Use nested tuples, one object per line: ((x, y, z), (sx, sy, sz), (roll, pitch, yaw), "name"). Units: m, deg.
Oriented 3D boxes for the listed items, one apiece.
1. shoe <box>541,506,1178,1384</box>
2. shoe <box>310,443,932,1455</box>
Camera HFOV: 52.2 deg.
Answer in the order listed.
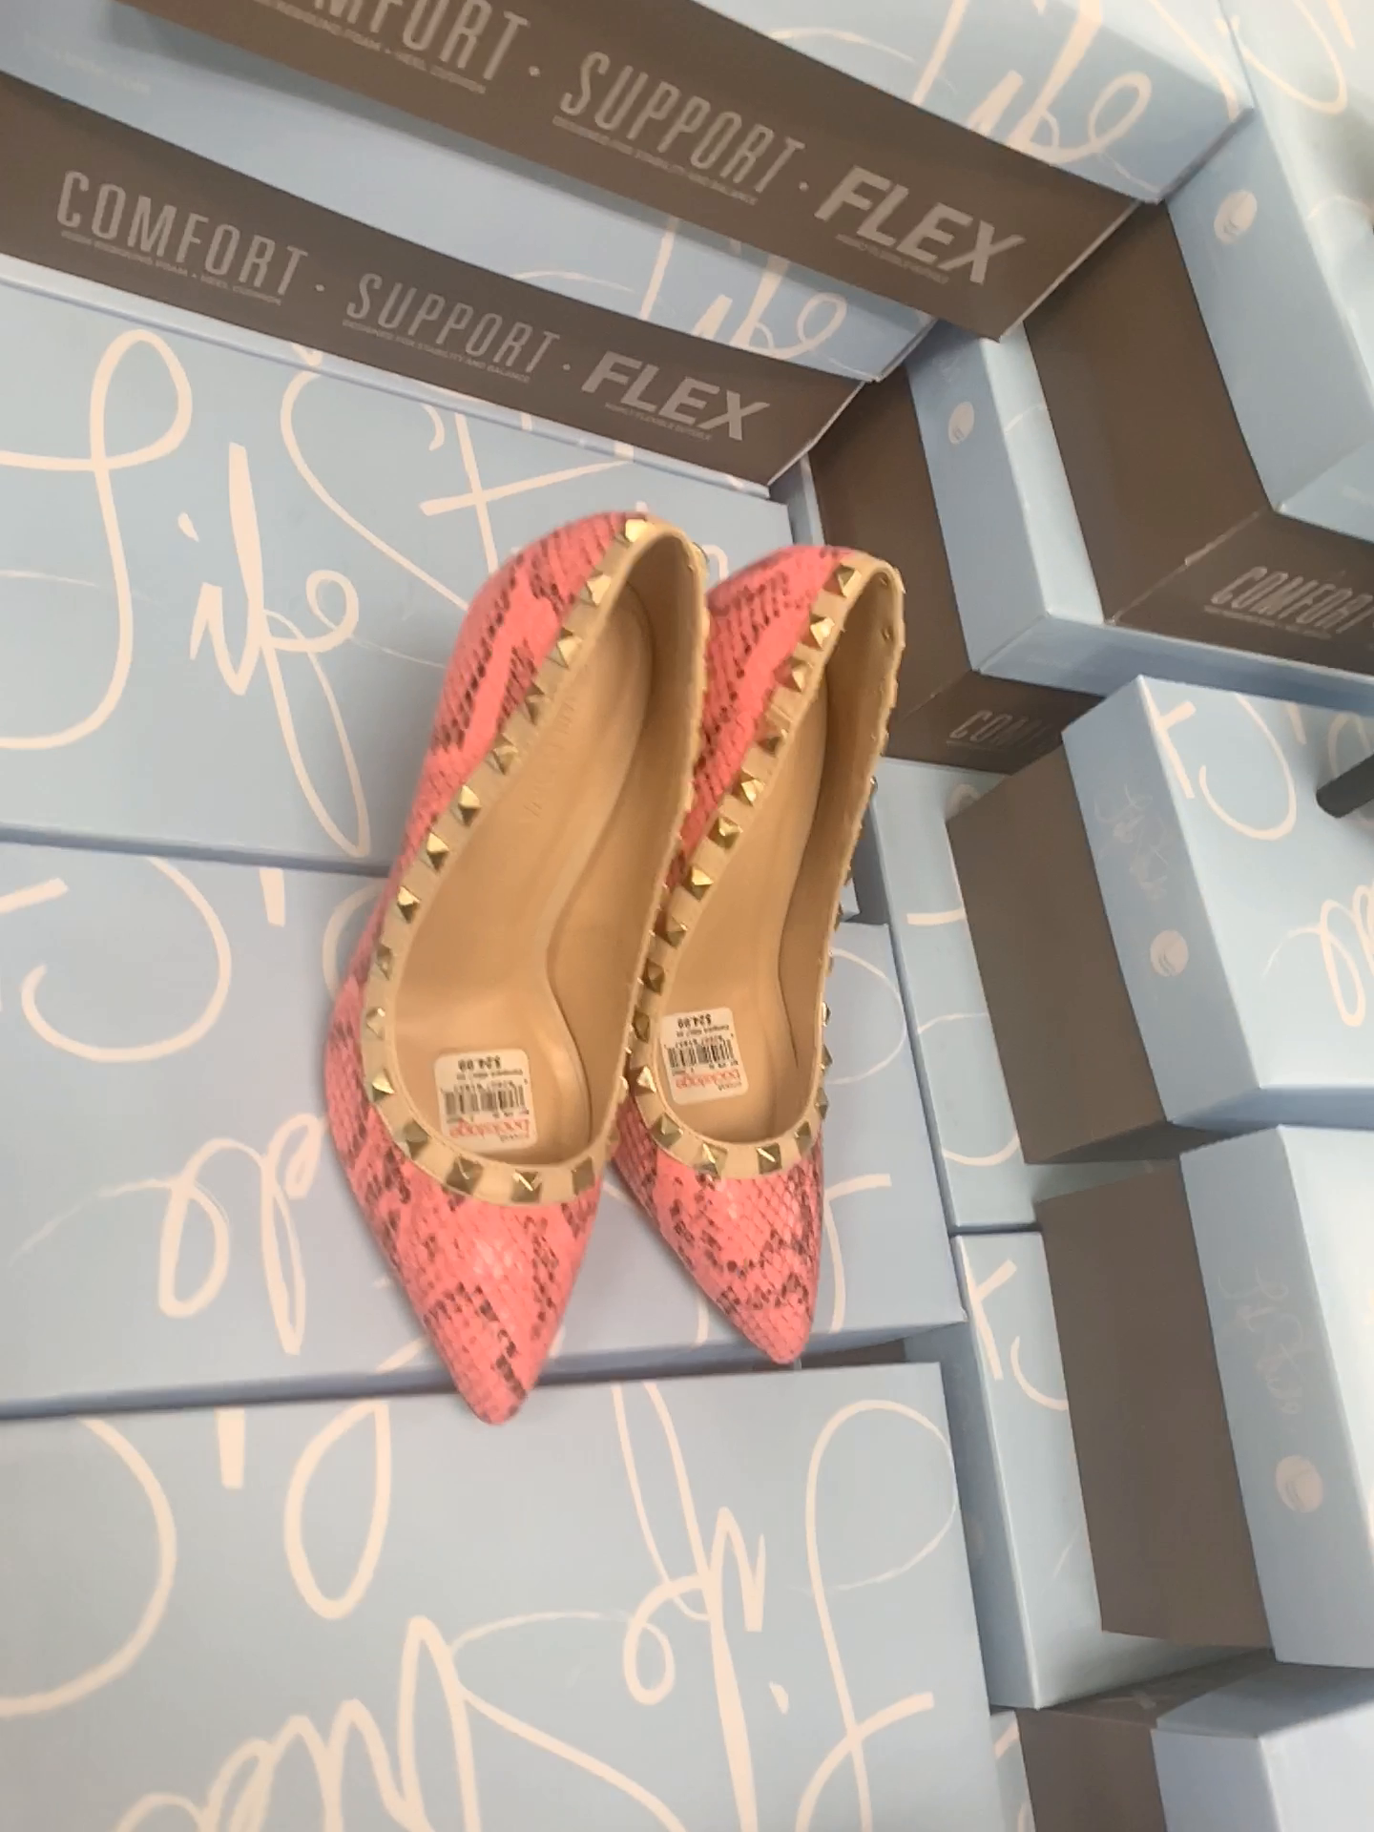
((0.033, 0.016, 0.385), (0.082, 0.129, 0.196), (5, 66, -31), "shoe")
((-0.031, 0.016, 0.341), (0.080, 0.129, 0.200), (5, 66, -31), "shoe")
